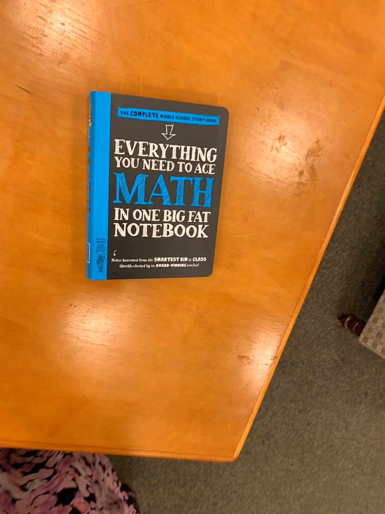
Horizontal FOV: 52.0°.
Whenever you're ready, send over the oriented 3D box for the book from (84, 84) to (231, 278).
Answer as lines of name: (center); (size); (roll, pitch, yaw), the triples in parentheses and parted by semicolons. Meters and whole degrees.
book: (-0.046, -0.082, 0.477); (0.160, 0.040, 0.210); (0, 106, -19)
